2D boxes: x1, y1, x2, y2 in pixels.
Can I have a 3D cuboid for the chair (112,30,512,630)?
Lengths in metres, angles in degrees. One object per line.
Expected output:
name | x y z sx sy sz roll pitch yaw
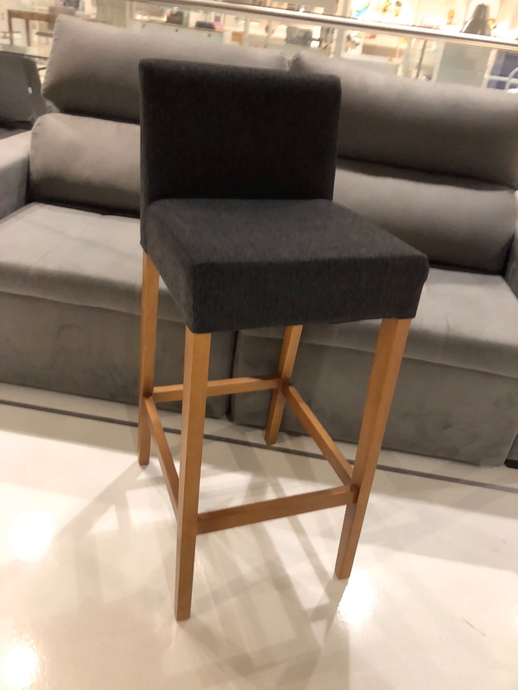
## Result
chair | -0.024 -0.049 1.158 0.451 0.973 0.584 -4 30 -22
